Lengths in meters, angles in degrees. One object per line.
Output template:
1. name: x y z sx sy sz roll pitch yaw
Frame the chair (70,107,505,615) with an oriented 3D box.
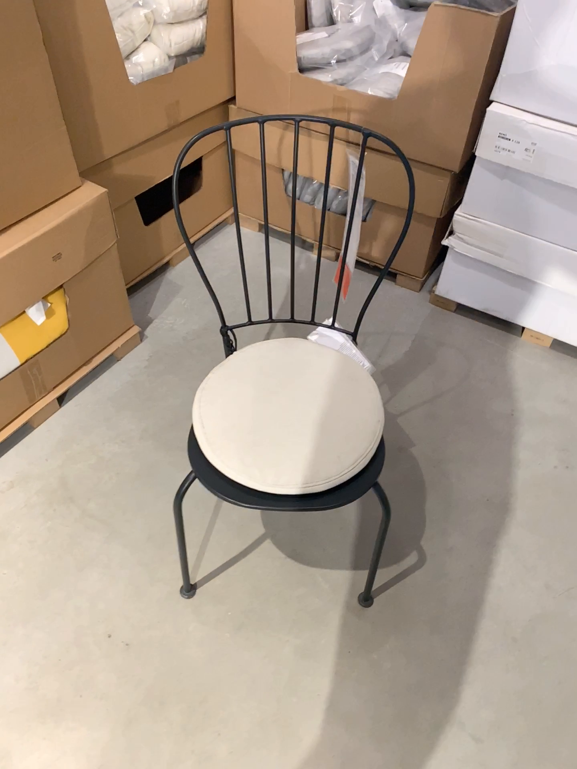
1. chair: -0.006 0.013 1.125 0.480 0.817 0.522 4 49 0
